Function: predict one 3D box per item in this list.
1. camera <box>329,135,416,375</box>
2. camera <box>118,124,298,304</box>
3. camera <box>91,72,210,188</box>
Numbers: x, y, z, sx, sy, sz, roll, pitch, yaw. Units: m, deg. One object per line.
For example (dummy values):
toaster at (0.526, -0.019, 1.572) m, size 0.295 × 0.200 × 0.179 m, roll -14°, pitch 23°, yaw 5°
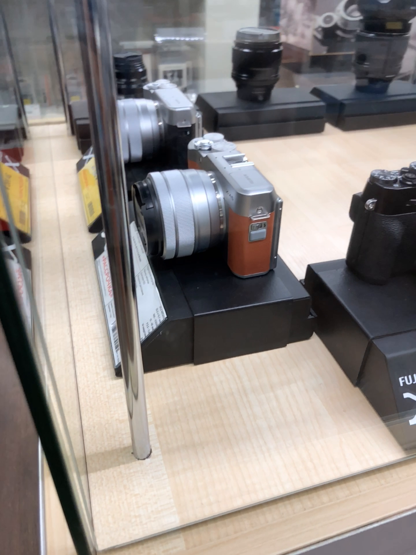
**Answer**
camera at (0.171, -0.023, 0.295) m, size 0.131 × 0.090 × 0.113 m, roll -9°, pitch 37°, yaw -15°
camera at (-0.008, -0.054, 0.341) m, size 0.093 × 0.075 × 0.121 m, roll -10°, pitch 37°, yaw -15°
camera at (-0.062, -0.156, 0.473) m, size 0.093 × 0.075 × 0.121 m, roll -10°, pitch 37°, yaw -15°
